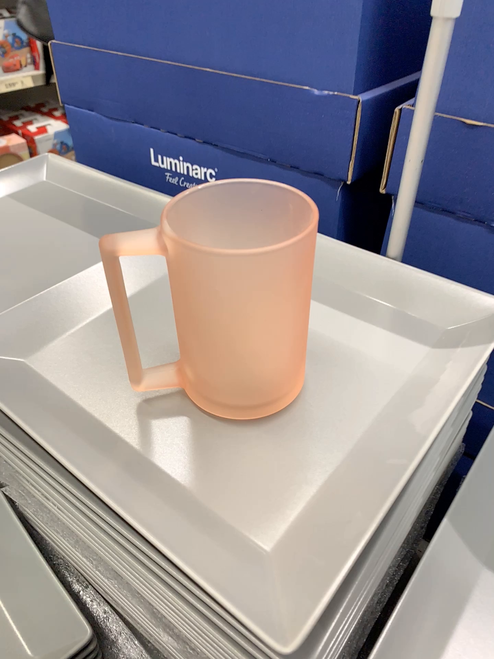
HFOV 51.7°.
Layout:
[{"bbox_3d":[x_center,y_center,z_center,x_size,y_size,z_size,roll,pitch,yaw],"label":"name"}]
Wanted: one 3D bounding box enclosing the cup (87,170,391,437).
[{"bbox_3d":[-0.008,-0.017,0.265,0.120,0.095,0.095,-4,38,-6],"label":"cup"}]
